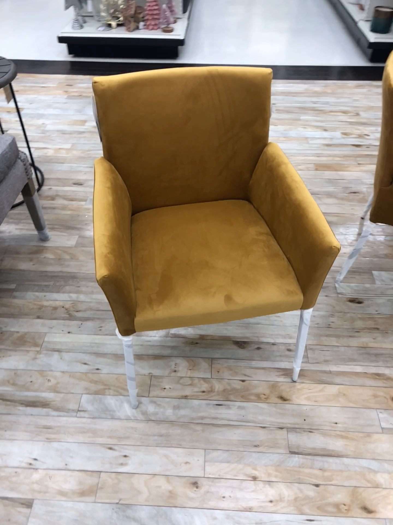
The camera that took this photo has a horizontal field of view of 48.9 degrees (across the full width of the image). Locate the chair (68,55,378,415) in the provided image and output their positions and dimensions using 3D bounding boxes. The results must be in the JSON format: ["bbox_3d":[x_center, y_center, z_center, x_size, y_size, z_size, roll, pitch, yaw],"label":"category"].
[{"bbox_3d":[0.010,-0.063,1.229,0.560,0.797,0.542,-7,43,-8],"label":"chair"}]
